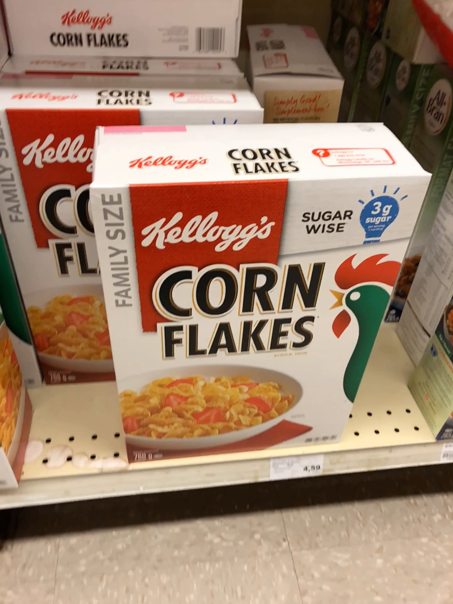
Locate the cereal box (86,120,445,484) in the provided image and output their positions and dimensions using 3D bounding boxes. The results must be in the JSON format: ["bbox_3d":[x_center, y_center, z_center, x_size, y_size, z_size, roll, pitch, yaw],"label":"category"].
[{"bbox_3d":[0.019,0.023,0.526,0.270,0.387,0.101,-5,40,-10],"label":"cereal box"}]
